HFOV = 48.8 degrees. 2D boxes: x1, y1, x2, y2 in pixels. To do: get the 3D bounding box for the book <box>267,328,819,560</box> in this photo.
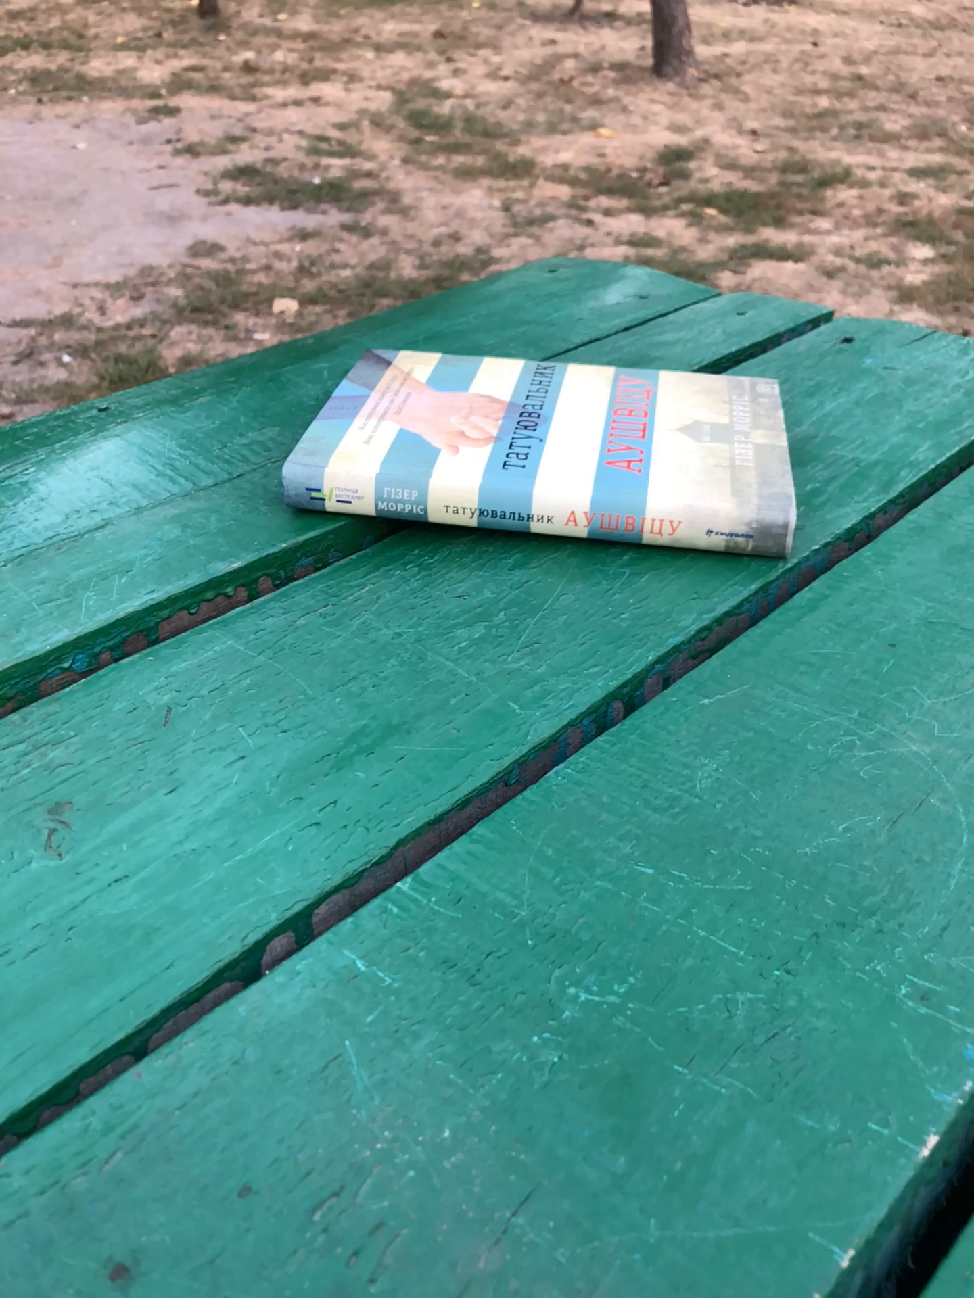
[{"bbox_3d":[0.030,-0.101,0.490,0.218,0.025,0.152,6,36,6],"label":"book"}]
